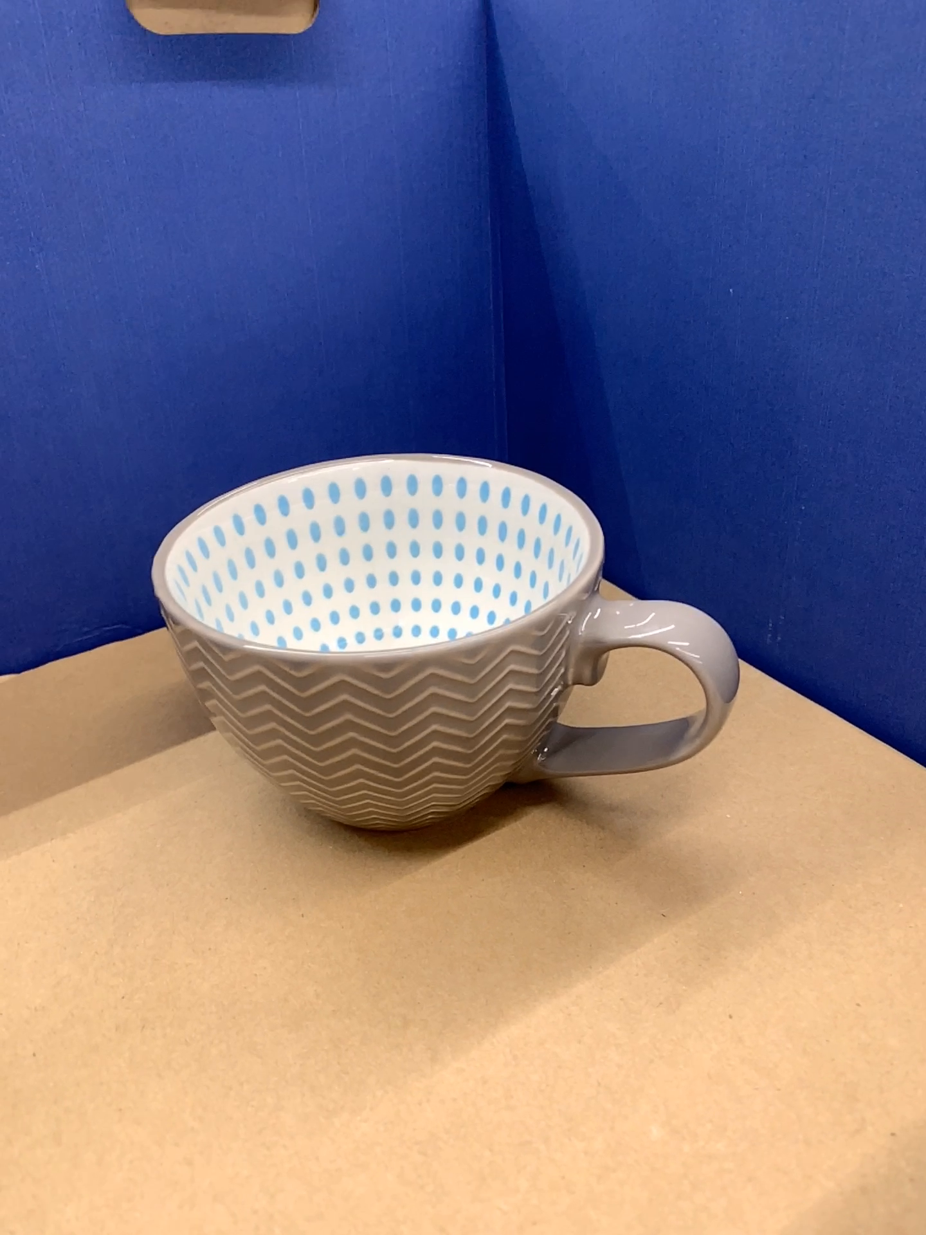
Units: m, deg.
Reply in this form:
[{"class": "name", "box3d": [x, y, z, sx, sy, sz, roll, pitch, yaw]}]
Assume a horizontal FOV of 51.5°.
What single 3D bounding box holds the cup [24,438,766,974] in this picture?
[{"class": "cup", "box3d": [-0.005, 0.006, 0.244, 0.143, 0.061, 0.119, 7, 30, 18]}]
